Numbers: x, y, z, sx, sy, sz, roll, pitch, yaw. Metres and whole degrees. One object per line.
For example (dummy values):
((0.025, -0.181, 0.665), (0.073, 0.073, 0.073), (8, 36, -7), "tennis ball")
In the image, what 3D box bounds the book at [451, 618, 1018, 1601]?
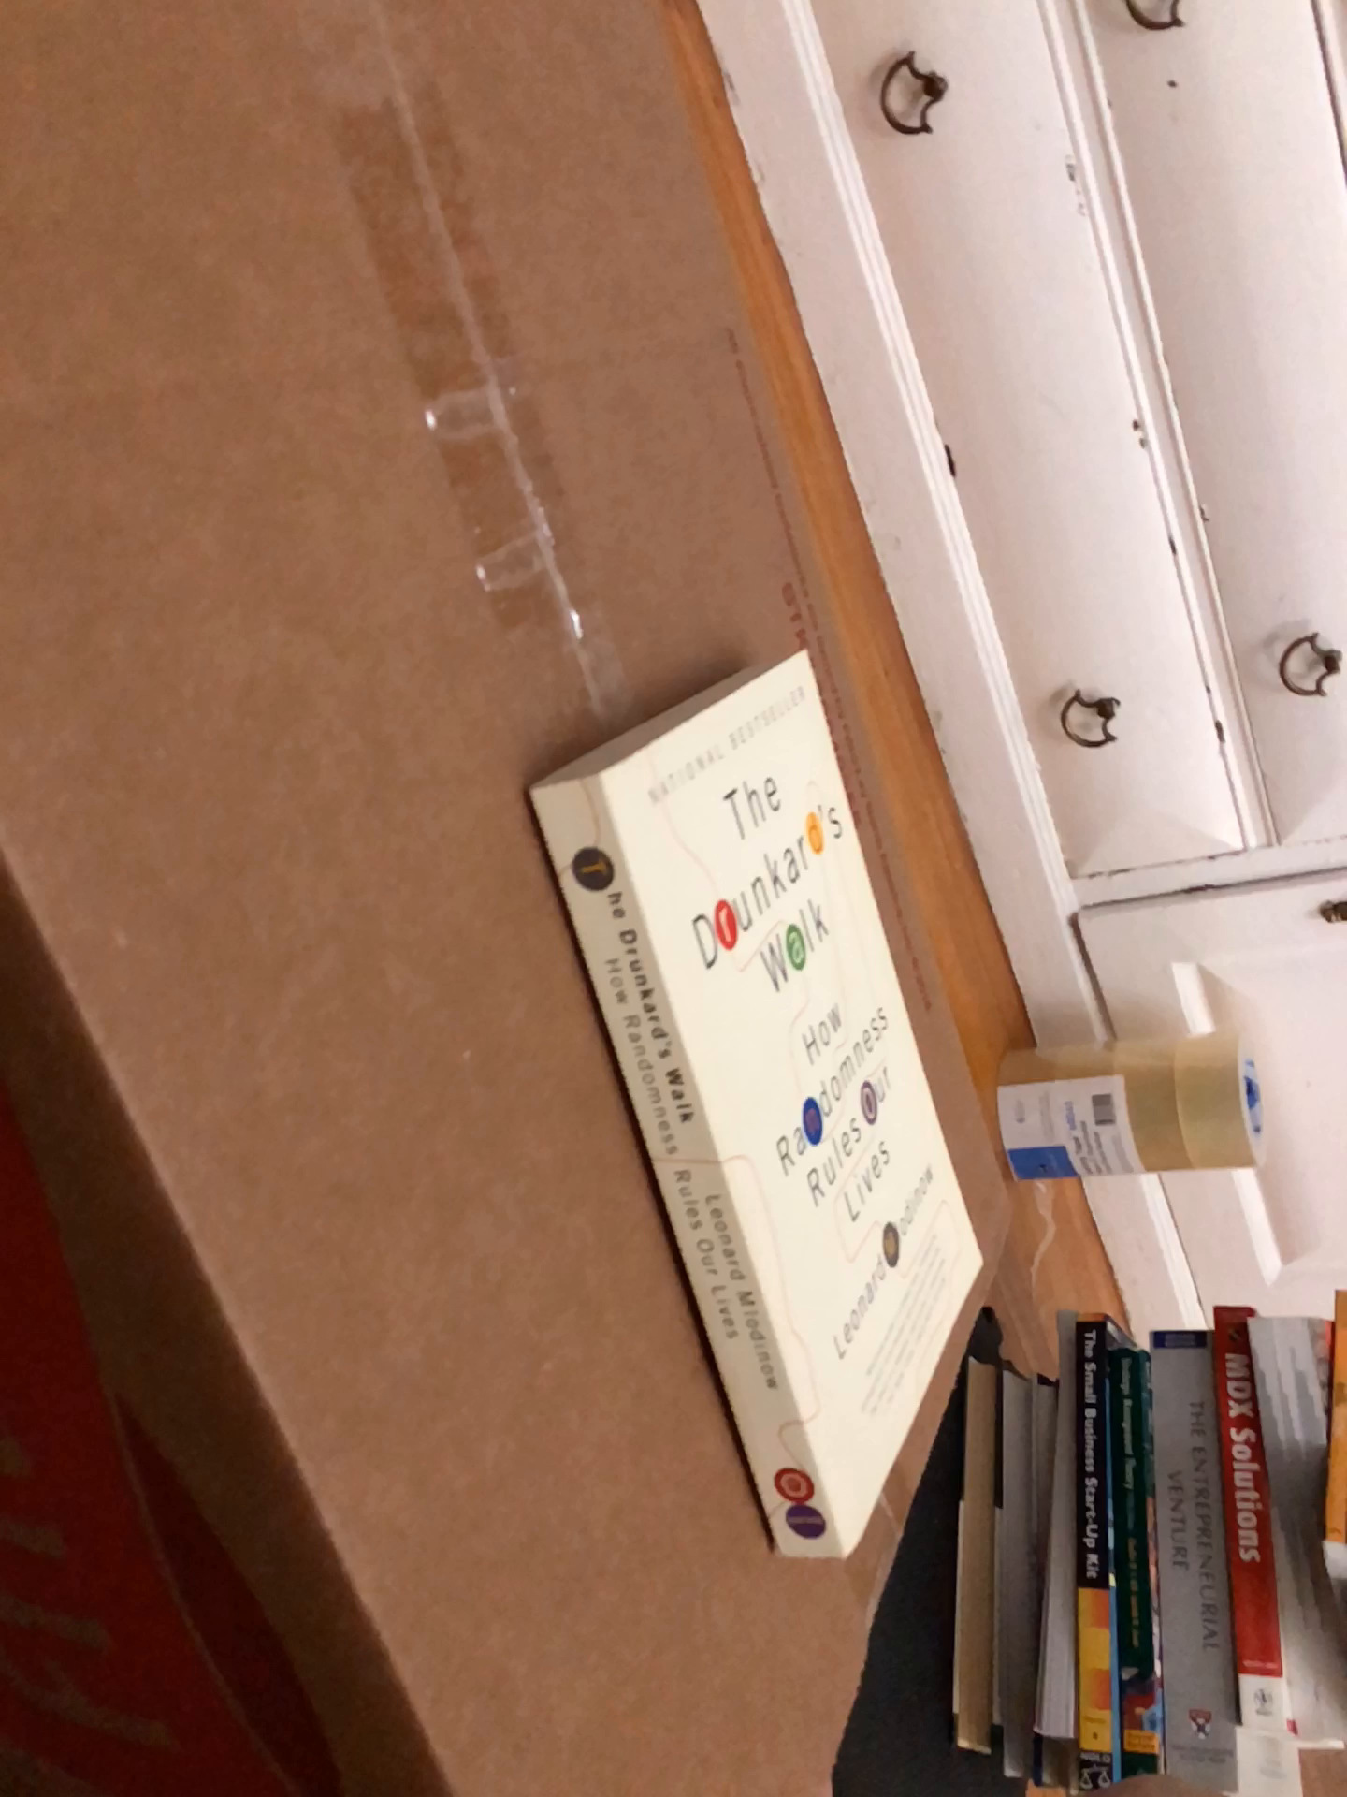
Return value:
((0.030, 0.046, 0.390), (0.141, 0.040, 0.210), (-40, 116, -57), "book")
